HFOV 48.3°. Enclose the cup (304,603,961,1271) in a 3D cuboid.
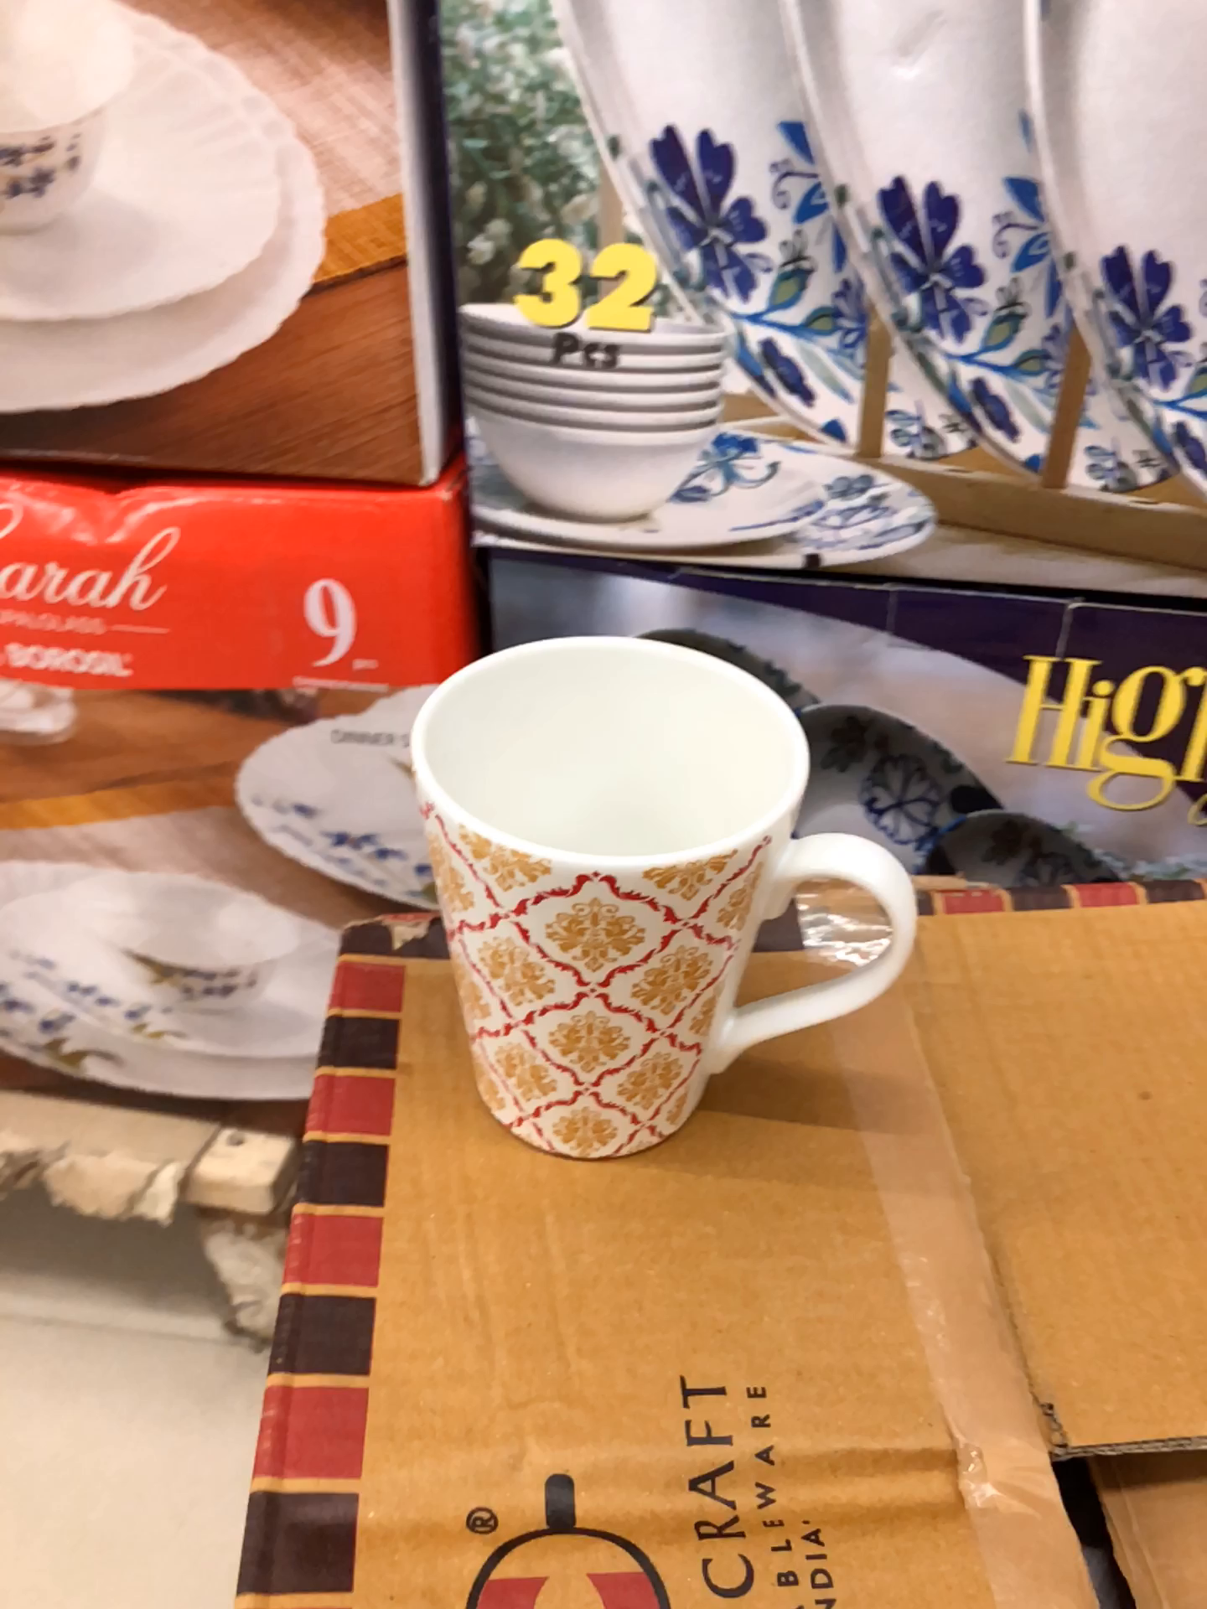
[{"bbox_3d":[0.011,0.023,0.299,0.110,0.089,0.091,12,36,17],"label":"cup"}]
